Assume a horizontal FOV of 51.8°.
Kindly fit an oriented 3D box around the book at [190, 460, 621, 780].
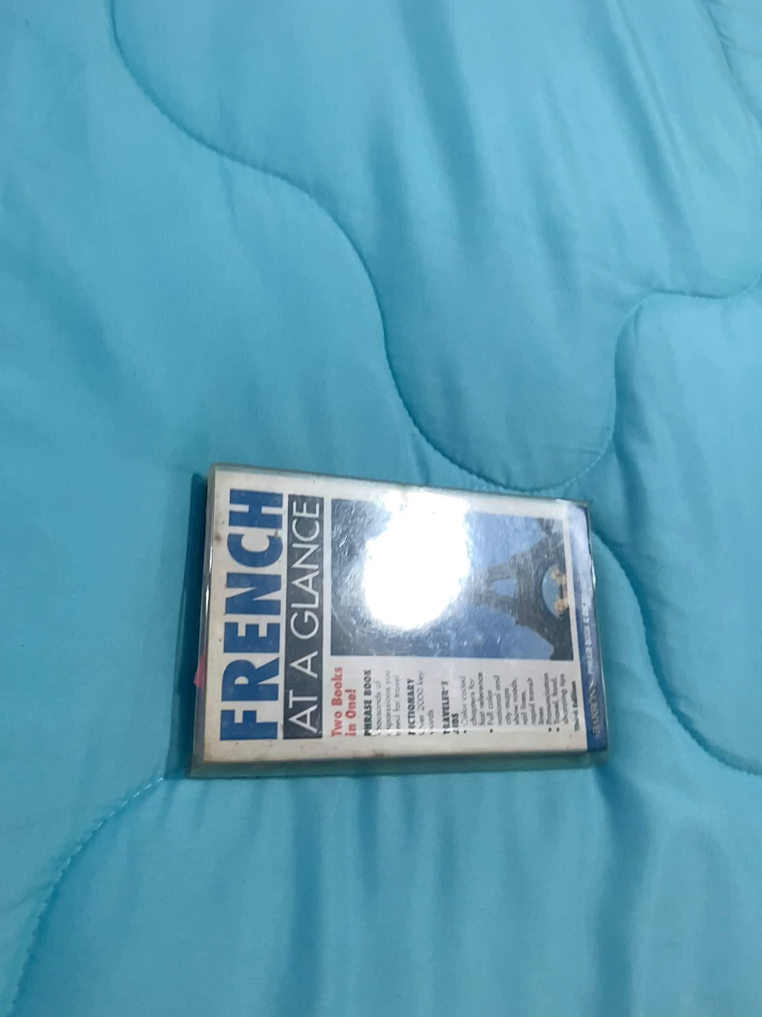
[{"bbox_3d":[0.013,0.039,0.280,0.154,0.017,0.099,4,74,-22],"label":"book"}]
